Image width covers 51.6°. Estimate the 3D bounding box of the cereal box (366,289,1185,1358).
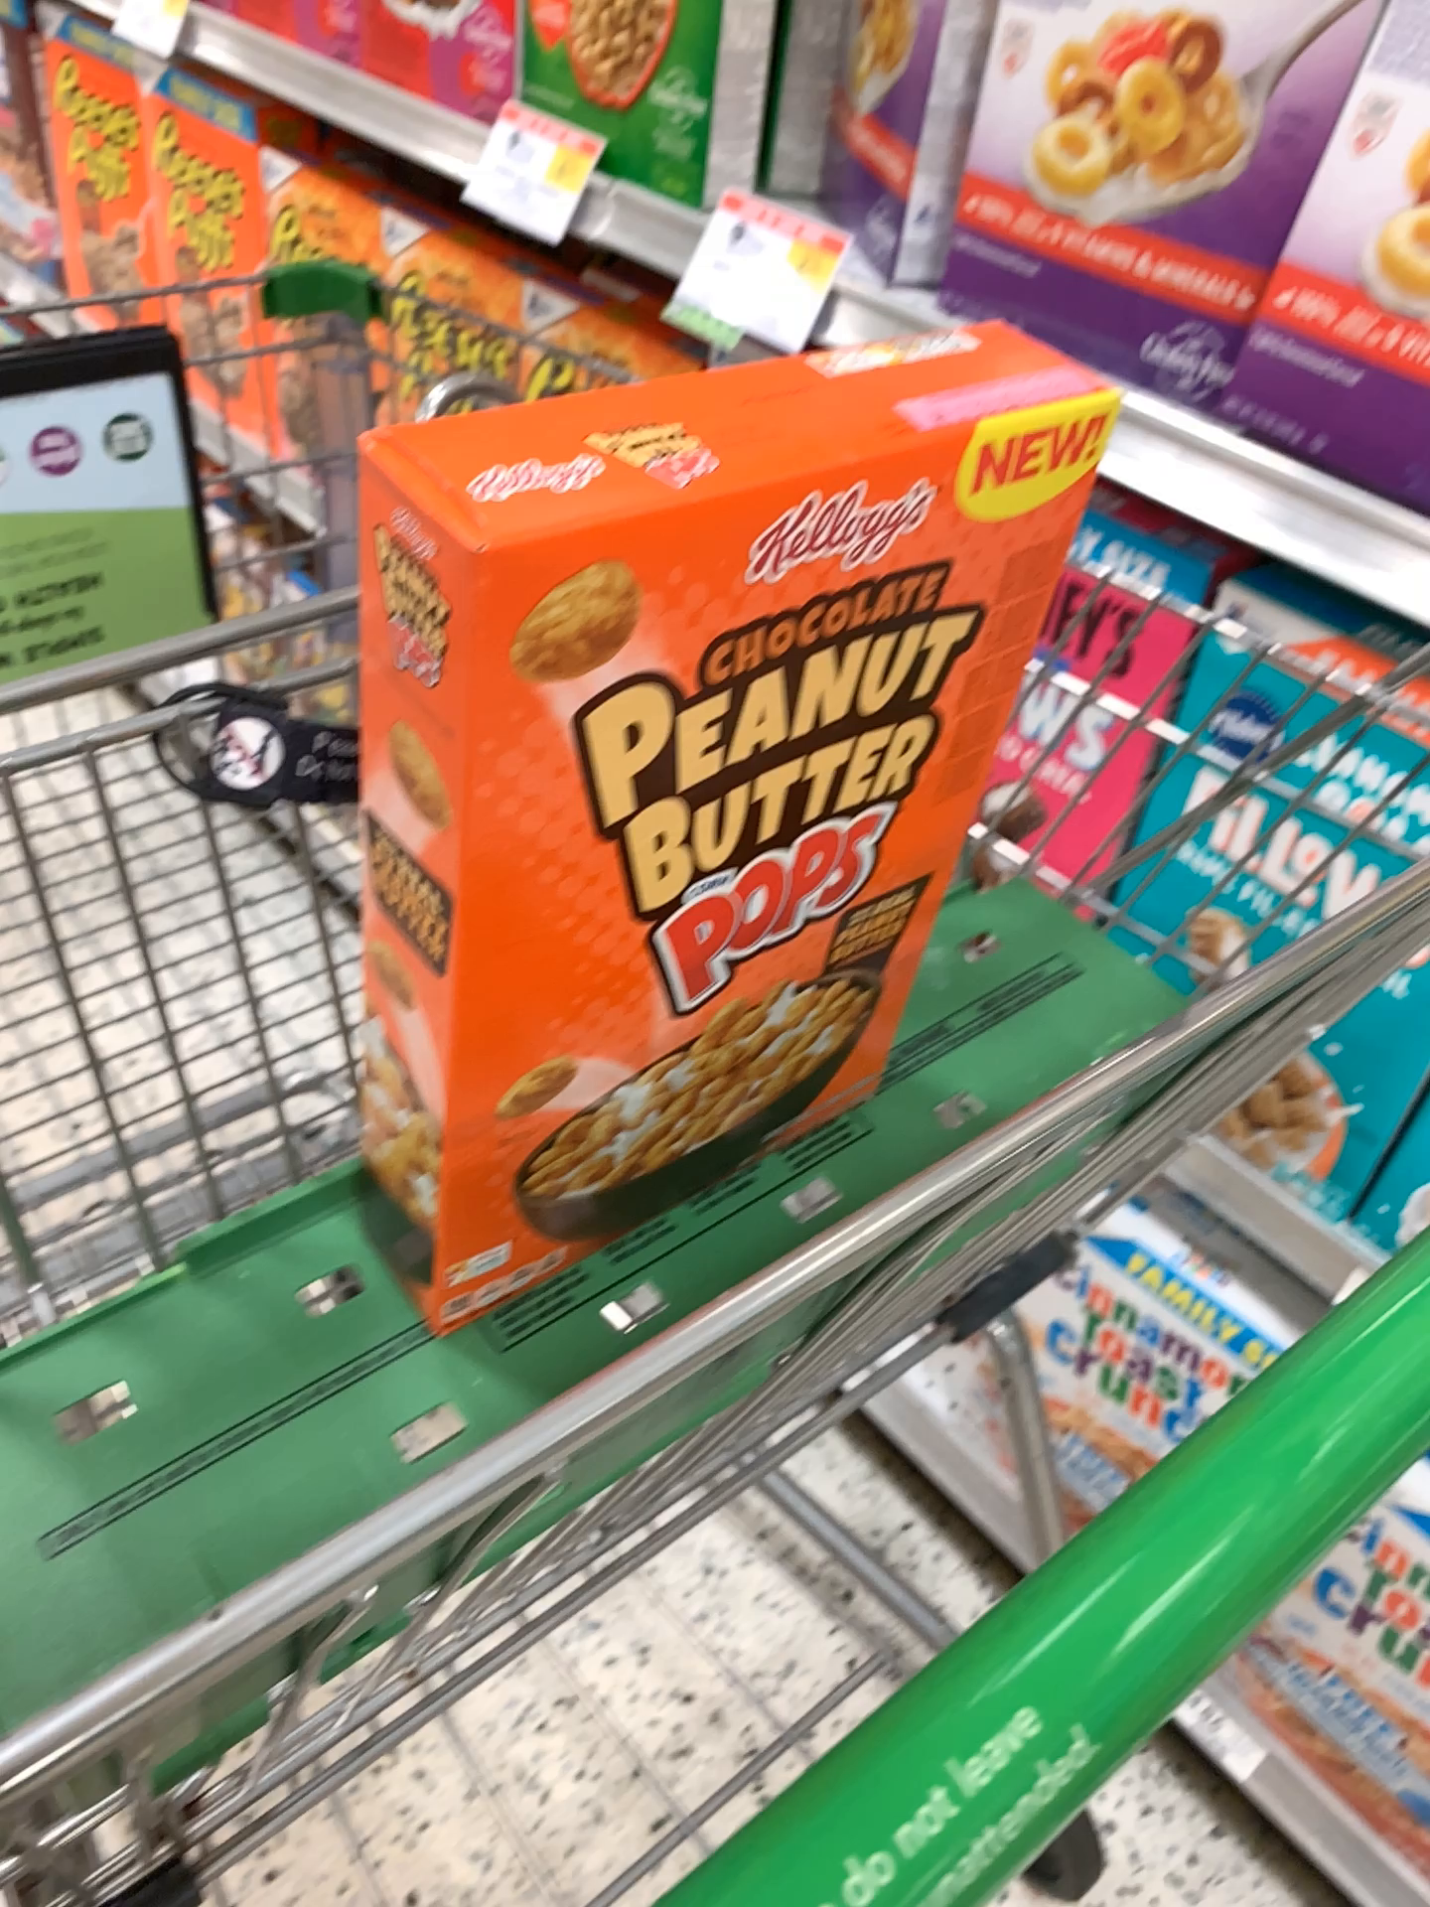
[{"bbox_3d":[0.002,-0.026,0.428,0.201,0.287,0.050,-25,55,-32],"label":"cereal box"}]
